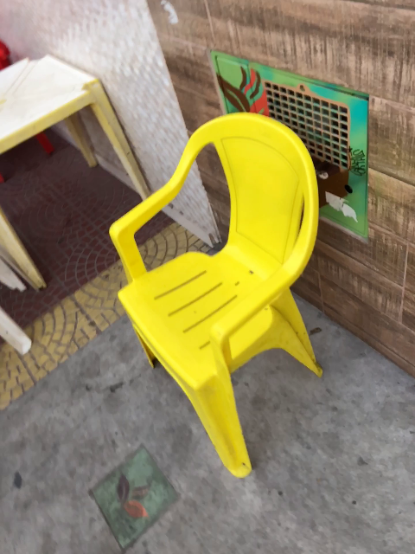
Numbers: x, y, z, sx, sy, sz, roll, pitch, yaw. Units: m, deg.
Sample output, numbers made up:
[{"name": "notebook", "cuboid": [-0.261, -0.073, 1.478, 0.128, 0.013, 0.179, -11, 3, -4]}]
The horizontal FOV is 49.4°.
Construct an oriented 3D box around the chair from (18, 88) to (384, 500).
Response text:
[{"name": "chair", "cuboid": [0.018, 0.044, 1.227, 0.541, 0.745, 0.644, -35, 48, -13]}]
